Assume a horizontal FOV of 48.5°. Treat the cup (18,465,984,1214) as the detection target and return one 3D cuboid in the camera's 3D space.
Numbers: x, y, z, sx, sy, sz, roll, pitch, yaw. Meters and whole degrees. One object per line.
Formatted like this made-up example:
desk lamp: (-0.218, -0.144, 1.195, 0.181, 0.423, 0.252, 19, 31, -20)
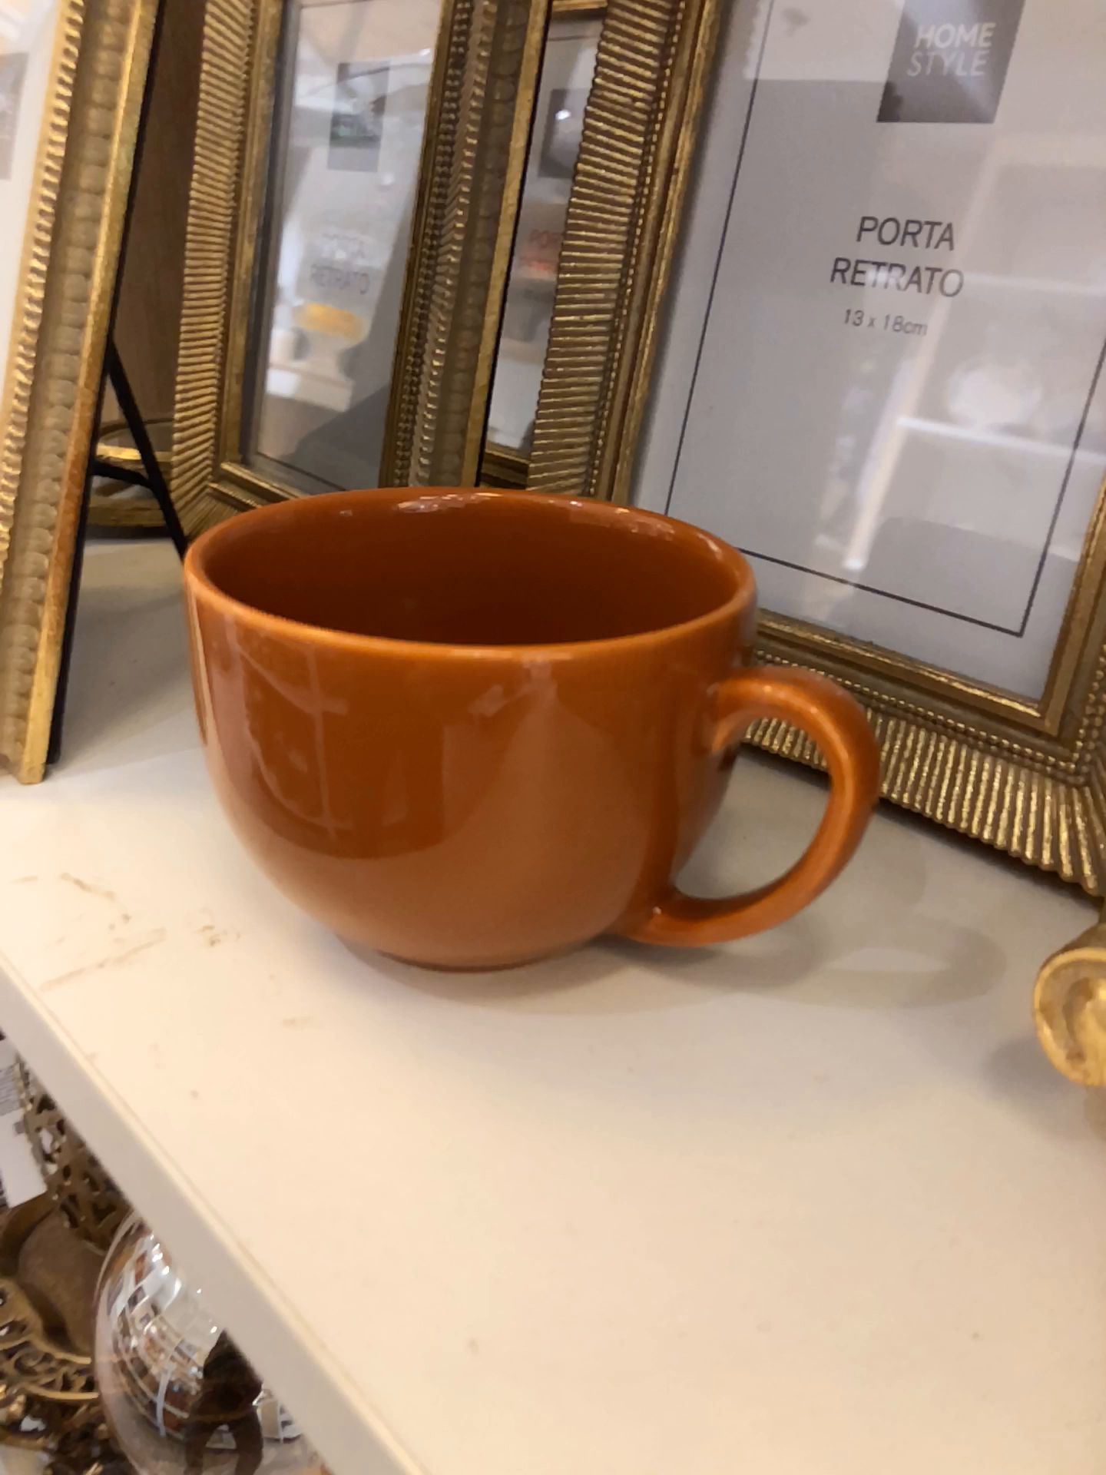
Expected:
cup: (-0.007, 0.001, 0.203, 0.120, 0.060, 0.091, 17, 29, 30)
